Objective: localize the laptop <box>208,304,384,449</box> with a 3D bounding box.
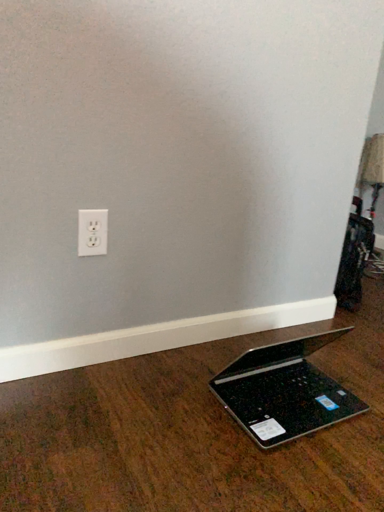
[{"bbox_3d":[0.239,0.256,0.920,0.317,0.169,0.220,-5,20,-29],"label":"laptop"}]
